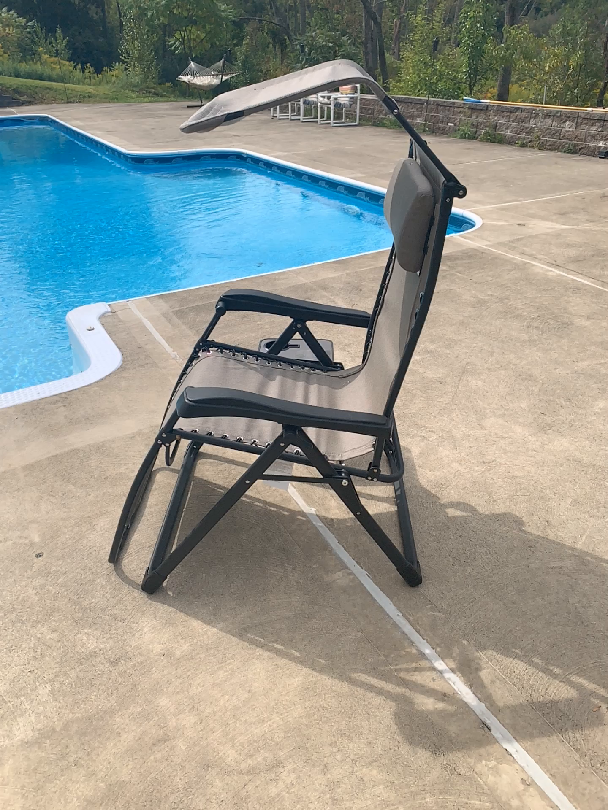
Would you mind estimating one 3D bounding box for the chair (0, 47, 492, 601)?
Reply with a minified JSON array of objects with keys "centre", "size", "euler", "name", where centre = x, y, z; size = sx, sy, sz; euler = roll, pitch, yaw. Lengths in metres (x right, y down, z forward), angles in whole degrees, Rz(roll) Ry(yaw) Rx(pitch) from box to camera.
[{"centre":[-0.141,-0.290,1.697],"size":[0.921,1.137,1.053],"euler":[0,29,4],"name":"chair"}]
